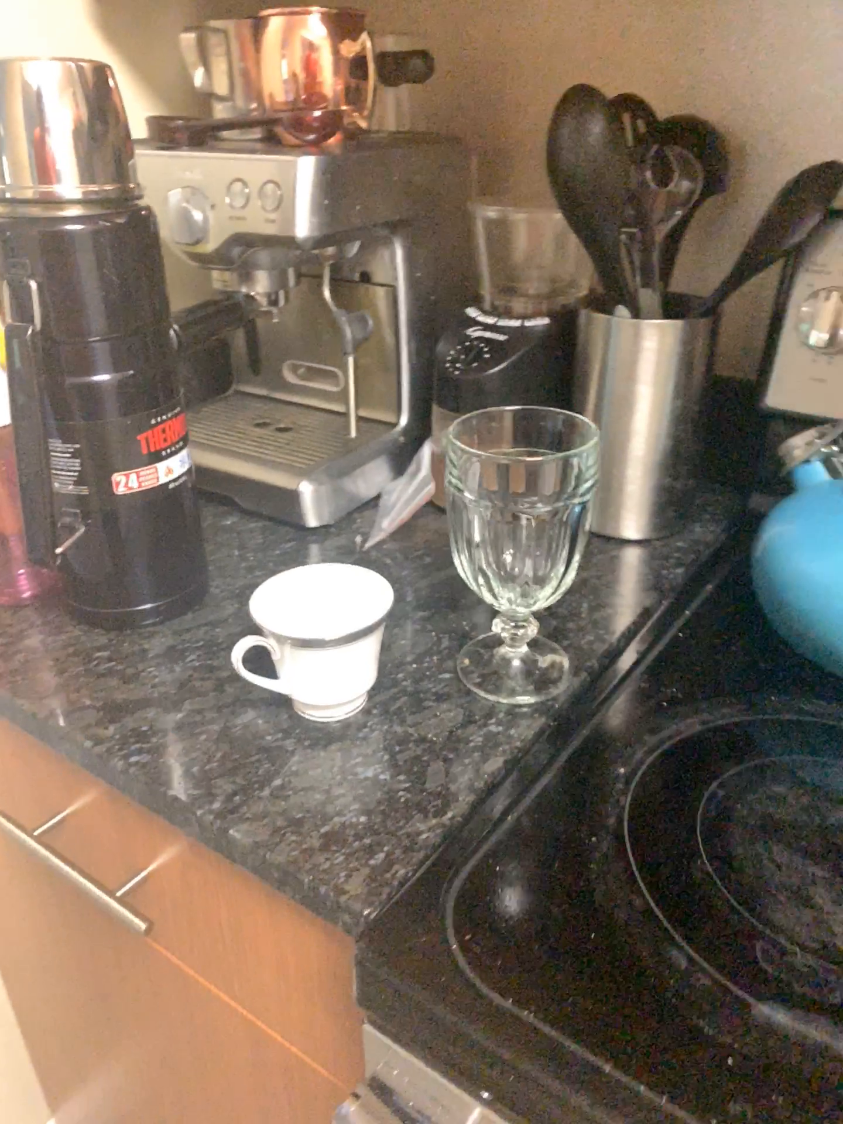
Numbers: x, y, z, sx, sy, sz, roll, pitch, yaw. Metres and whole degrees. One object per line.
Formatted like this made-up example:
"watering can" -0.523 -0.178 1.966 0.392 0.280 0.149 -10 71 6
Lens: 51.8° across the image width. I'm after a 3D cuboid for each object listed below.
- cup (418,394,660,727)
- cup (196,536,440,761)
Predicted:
"cup" 0.073 -0.006 0.573 0.110 0.169 0.100 0 28 0
"cup" -0.063 0.048 0.545 0.110 0.070 0.100 0 28 0
